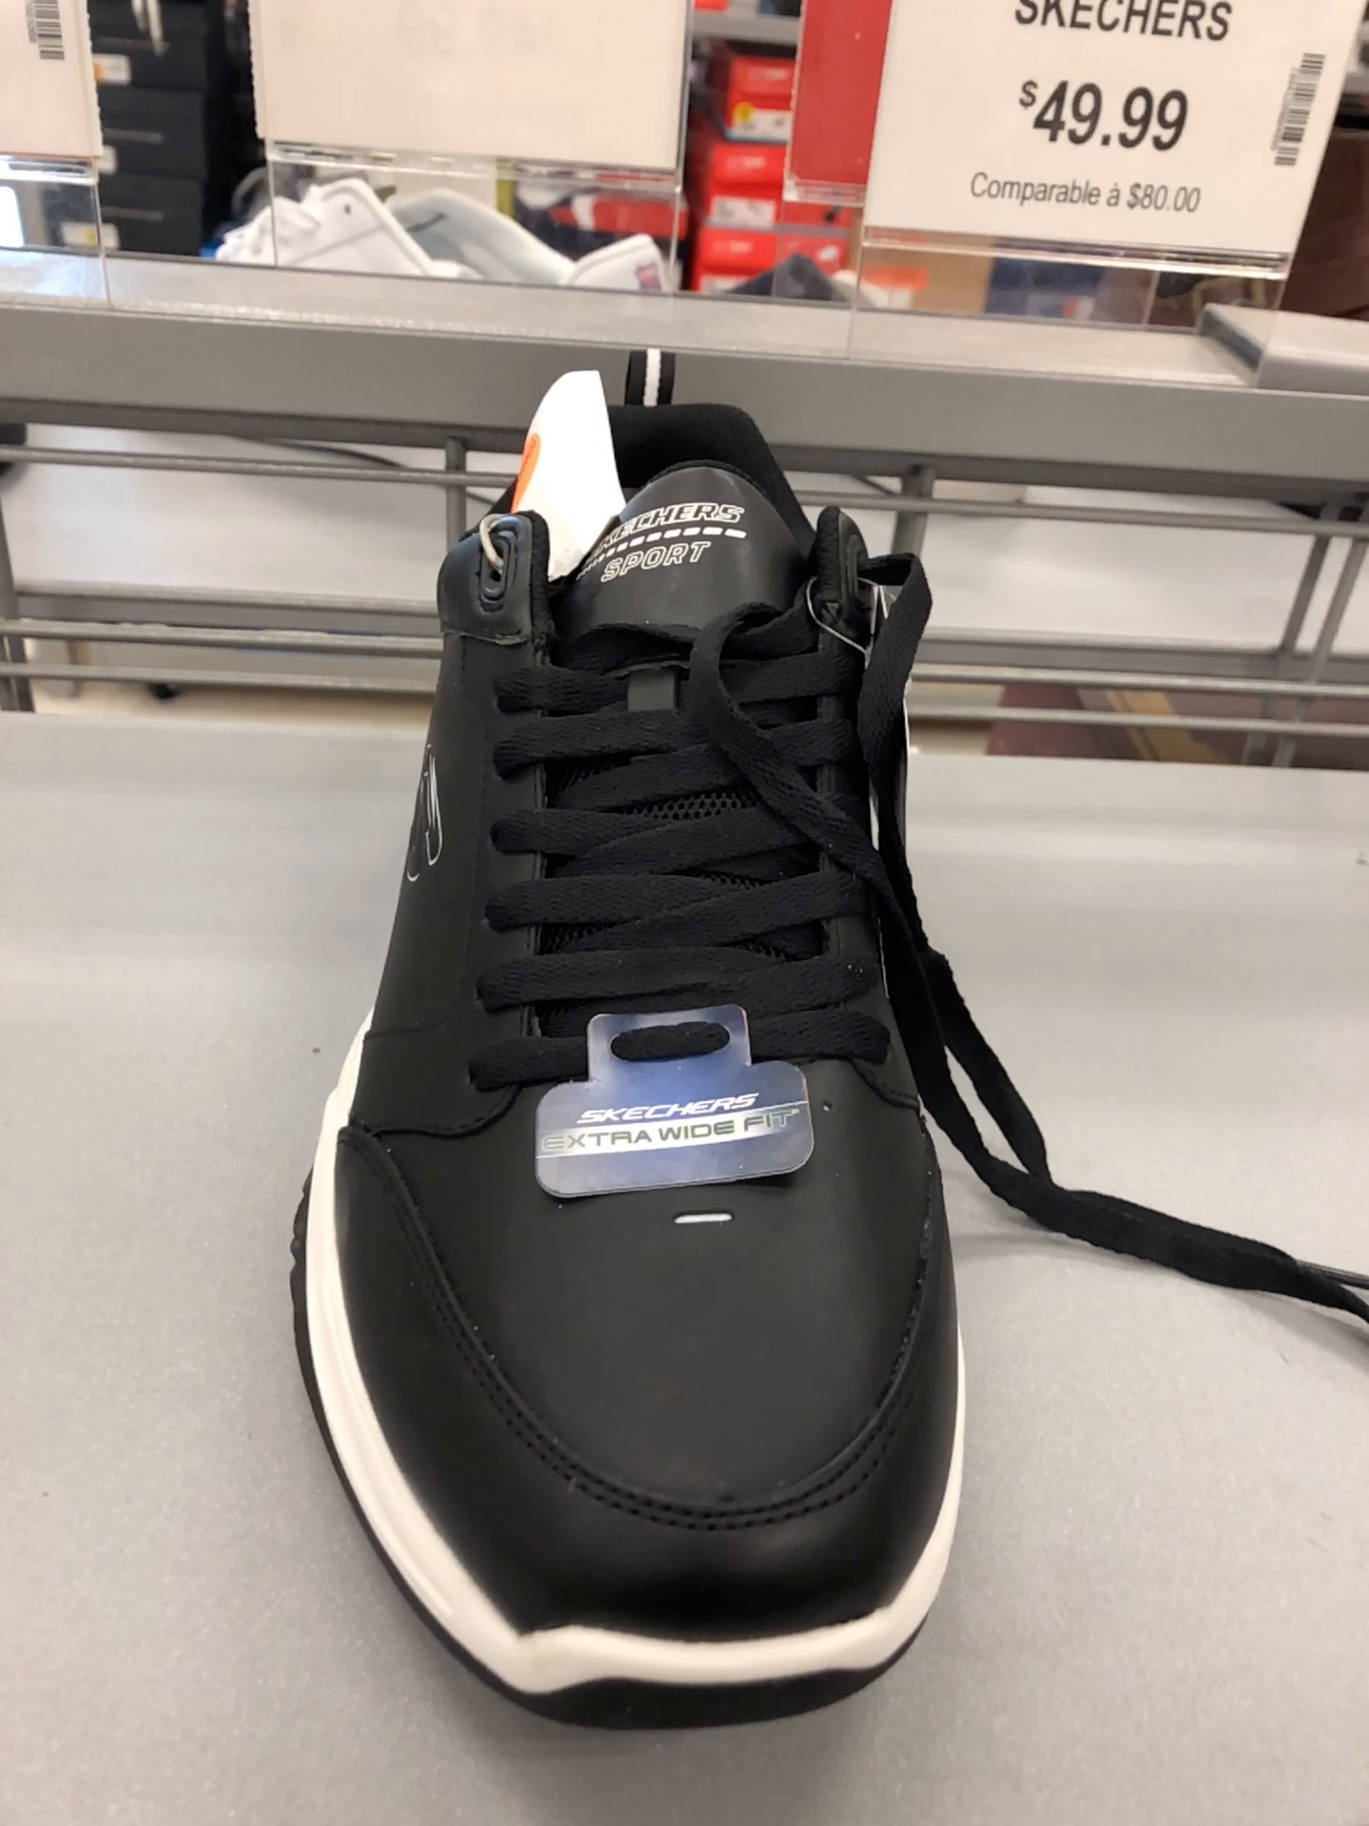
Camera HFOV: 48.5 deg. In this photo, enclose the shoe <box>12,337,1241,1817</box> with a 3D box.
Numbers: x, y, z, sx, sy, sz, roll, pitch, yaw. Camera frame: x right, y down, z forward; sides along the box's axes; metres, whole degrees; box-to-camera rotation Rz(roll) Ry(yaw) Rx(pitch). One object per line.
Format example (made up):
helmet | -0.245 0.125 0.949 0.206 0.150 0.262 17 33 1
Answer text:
shoe | -0.019 -0.016 0.334 0.130 0.109 0.353 2 36 -6
